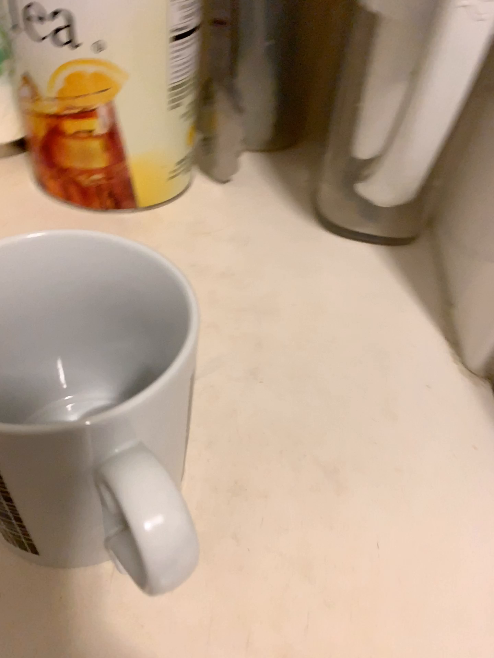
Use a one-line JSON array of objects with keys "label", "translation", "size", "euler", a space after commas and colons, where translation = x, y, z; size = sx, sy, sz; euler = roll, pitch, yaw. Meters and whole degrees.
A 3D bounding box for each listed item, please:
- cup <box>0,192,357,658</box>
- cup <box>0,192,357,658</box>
[{"label": "cup", "translation": [-0.053, 0.038, 0.197], "size": [0.100, 0.109, 0.130], "euler": [-24, 54, -30]}, {"label": "cup", "translation": [-0.053, 0.038, 0.197], "size": [0.100, 0.109, 0.130], "euler": [-24, 54, -30]}]
